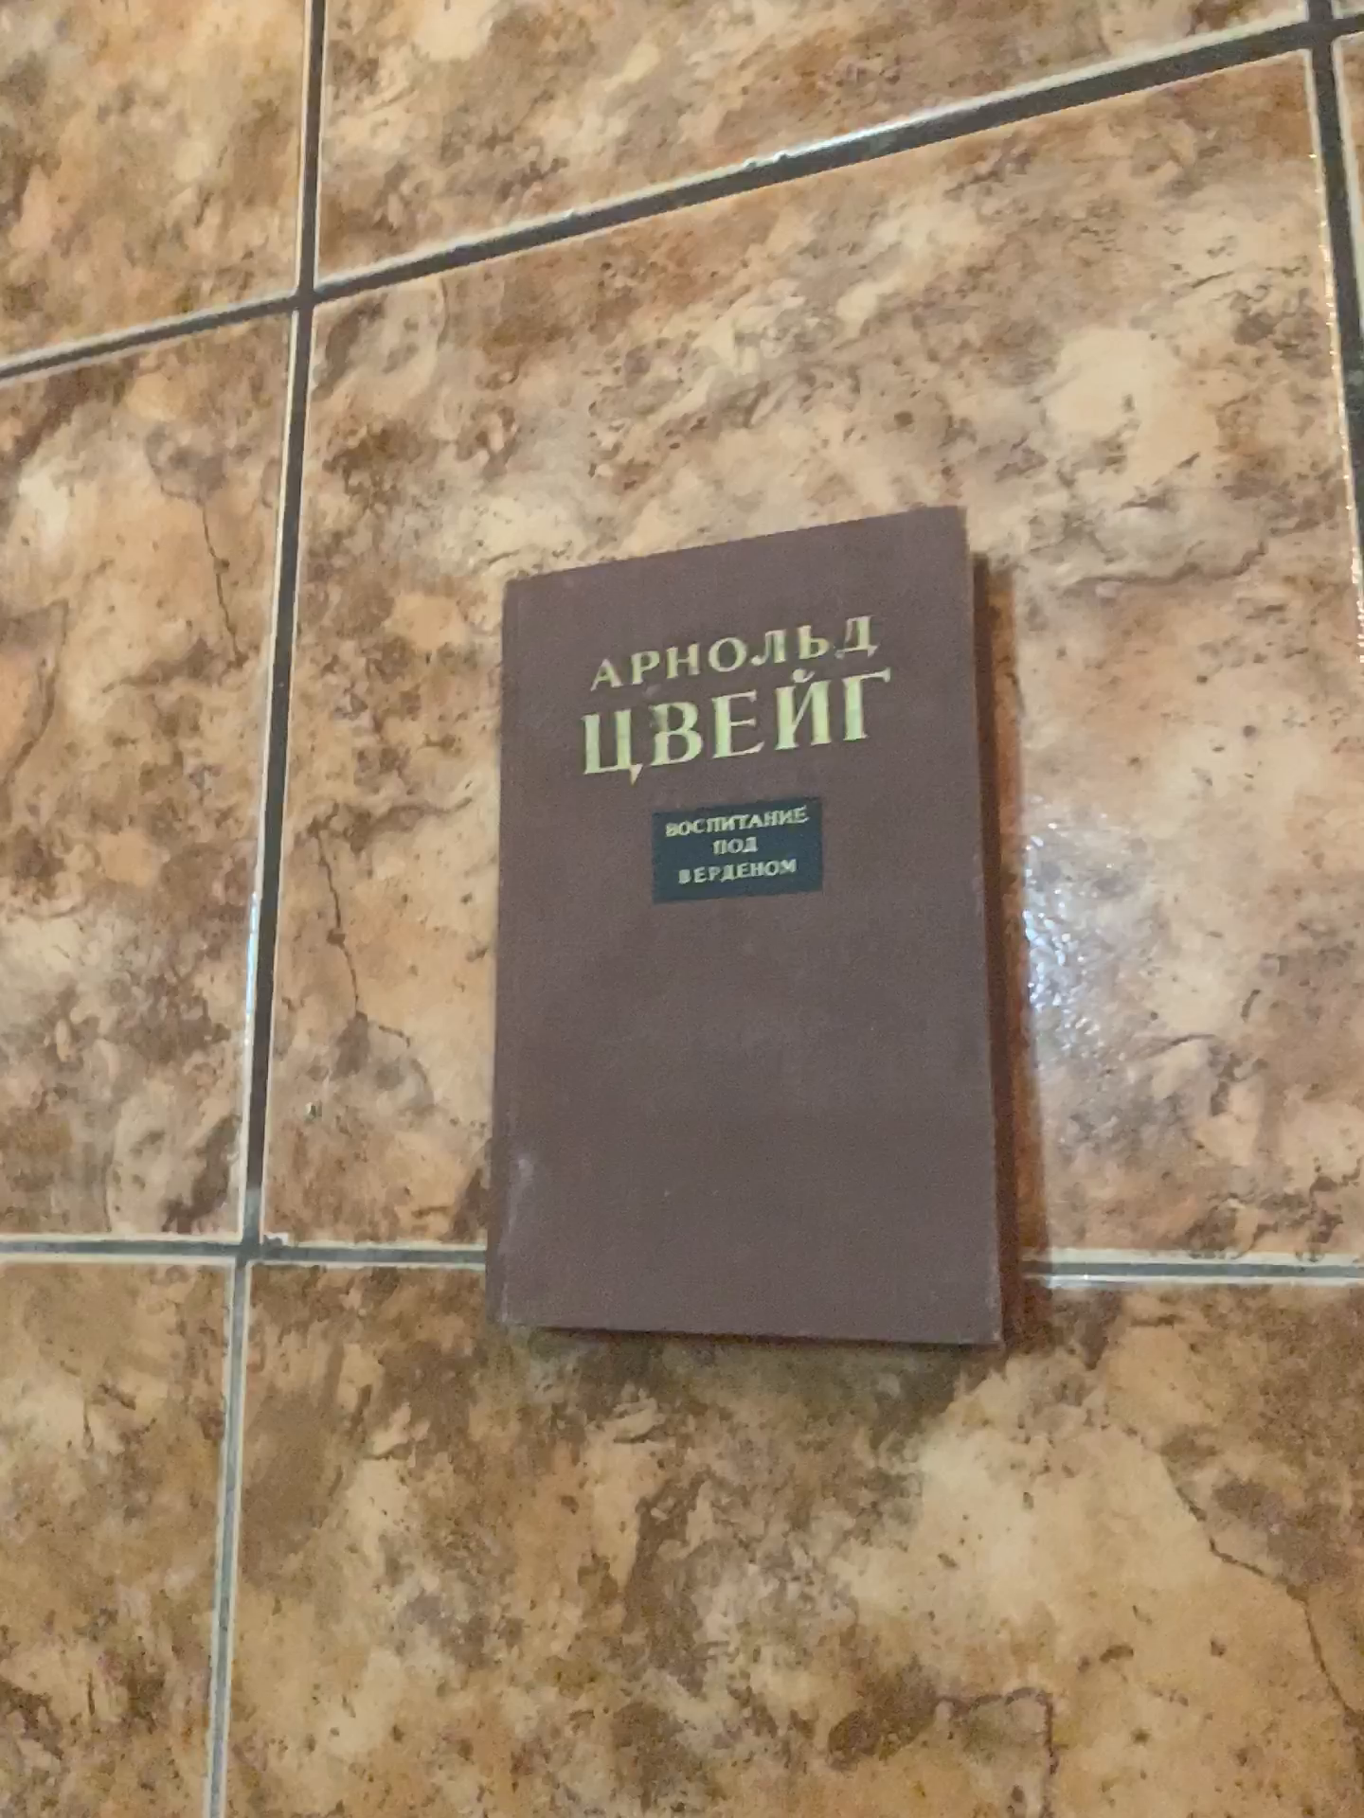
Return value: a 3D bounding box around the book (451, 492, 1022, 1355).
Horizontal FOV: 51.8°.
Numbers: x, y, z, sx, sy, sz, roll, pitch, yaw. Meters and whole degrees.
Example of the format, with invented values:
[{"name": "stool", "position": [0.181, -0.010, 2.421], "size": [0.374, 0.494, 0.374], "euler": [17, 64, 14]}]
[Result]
[{"name": "book", "position": [0.012, 0.005, 0.369], "size": [0.139, 0.034, 0.205], "euler": [-4, 79, 21]}]
